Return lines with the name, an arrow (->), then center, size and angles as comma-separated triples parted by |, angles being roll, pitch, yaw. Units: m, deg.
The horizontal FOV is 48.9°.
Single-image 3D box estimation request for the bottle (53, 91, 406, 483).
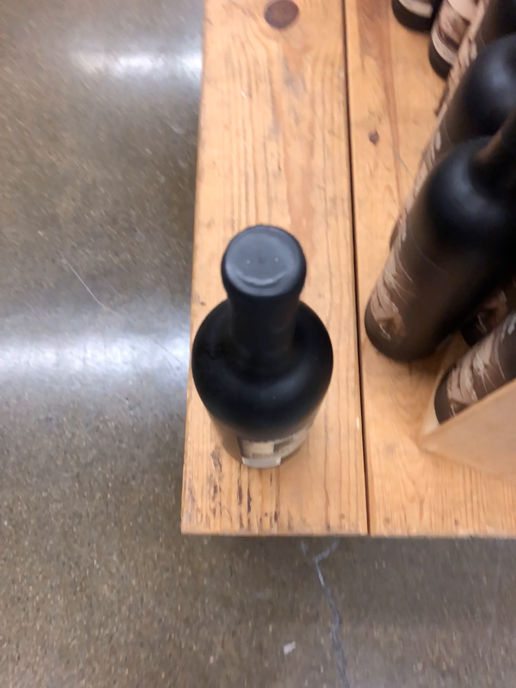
bottle -> -0.009, 0.011, 0.324 | 0.080, 0.300, 0.080 | 0, 72, 0
